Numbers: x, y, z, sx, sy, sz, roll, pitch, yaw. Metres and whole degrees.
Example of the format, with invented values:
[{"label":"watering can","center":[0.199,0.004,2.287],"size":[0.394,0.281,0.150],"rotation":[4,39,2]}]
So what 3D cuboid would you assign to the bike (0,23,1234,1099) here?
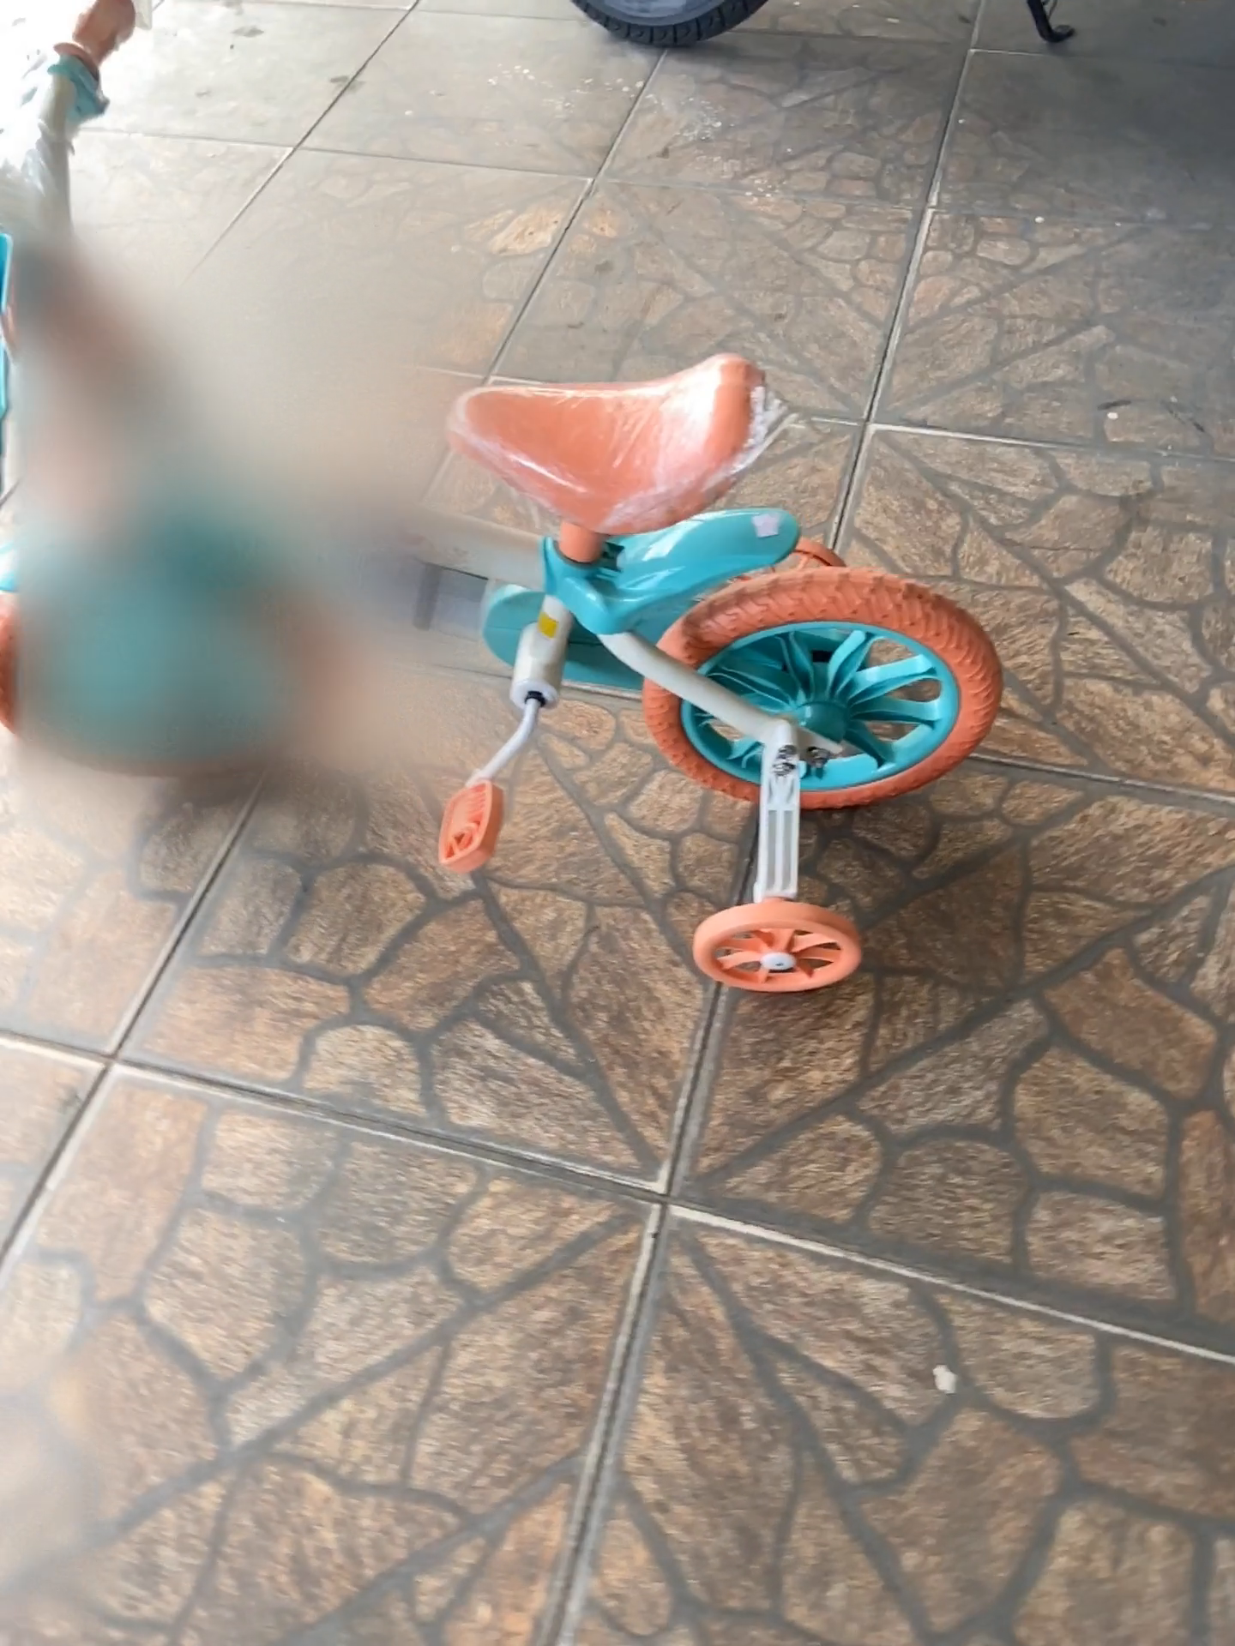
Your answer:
[{"label":"bike","center":[-0.115,-0.152,0.882],"size":[0.806,0.534,0.501],"rotation":[1,55,2]}]
